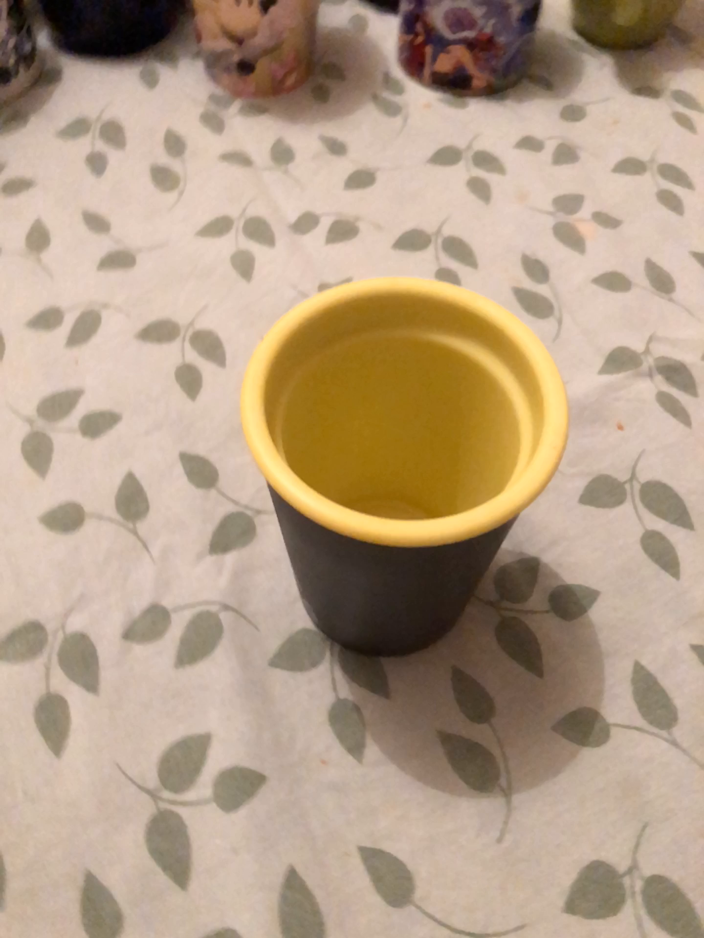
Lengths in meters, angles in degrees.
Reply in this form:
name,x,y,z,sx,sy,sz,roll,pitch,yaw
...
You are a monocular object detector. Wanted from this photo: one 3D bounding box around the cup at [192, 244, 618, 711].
name,x,y,z,sx,sy,sz,roll,pitch,yaw
cup,0.008,0.008,0.246,0.090,0.109,0.090,0,59,0
